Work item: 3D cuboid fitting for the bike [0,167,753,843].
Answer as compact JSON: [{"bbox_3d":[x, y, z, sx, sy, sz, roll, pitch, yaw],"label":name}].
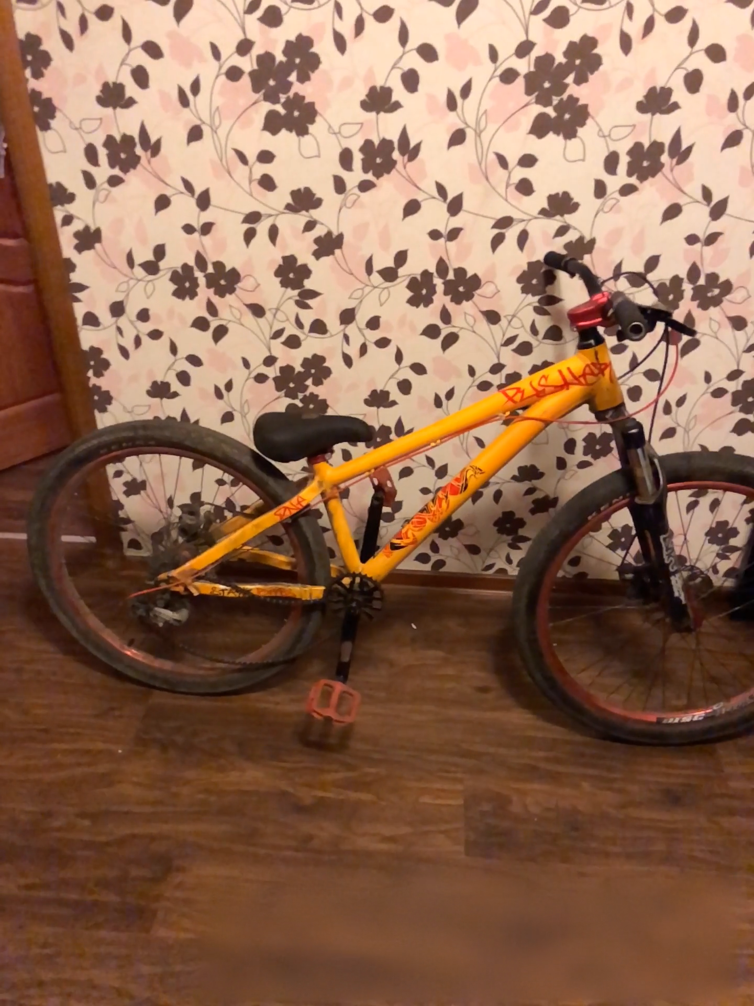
[{"bbox_3d":[0.069,-0.015,1.608,1.675,1.005,0.664,2,32,8],"label":"bike"}]
